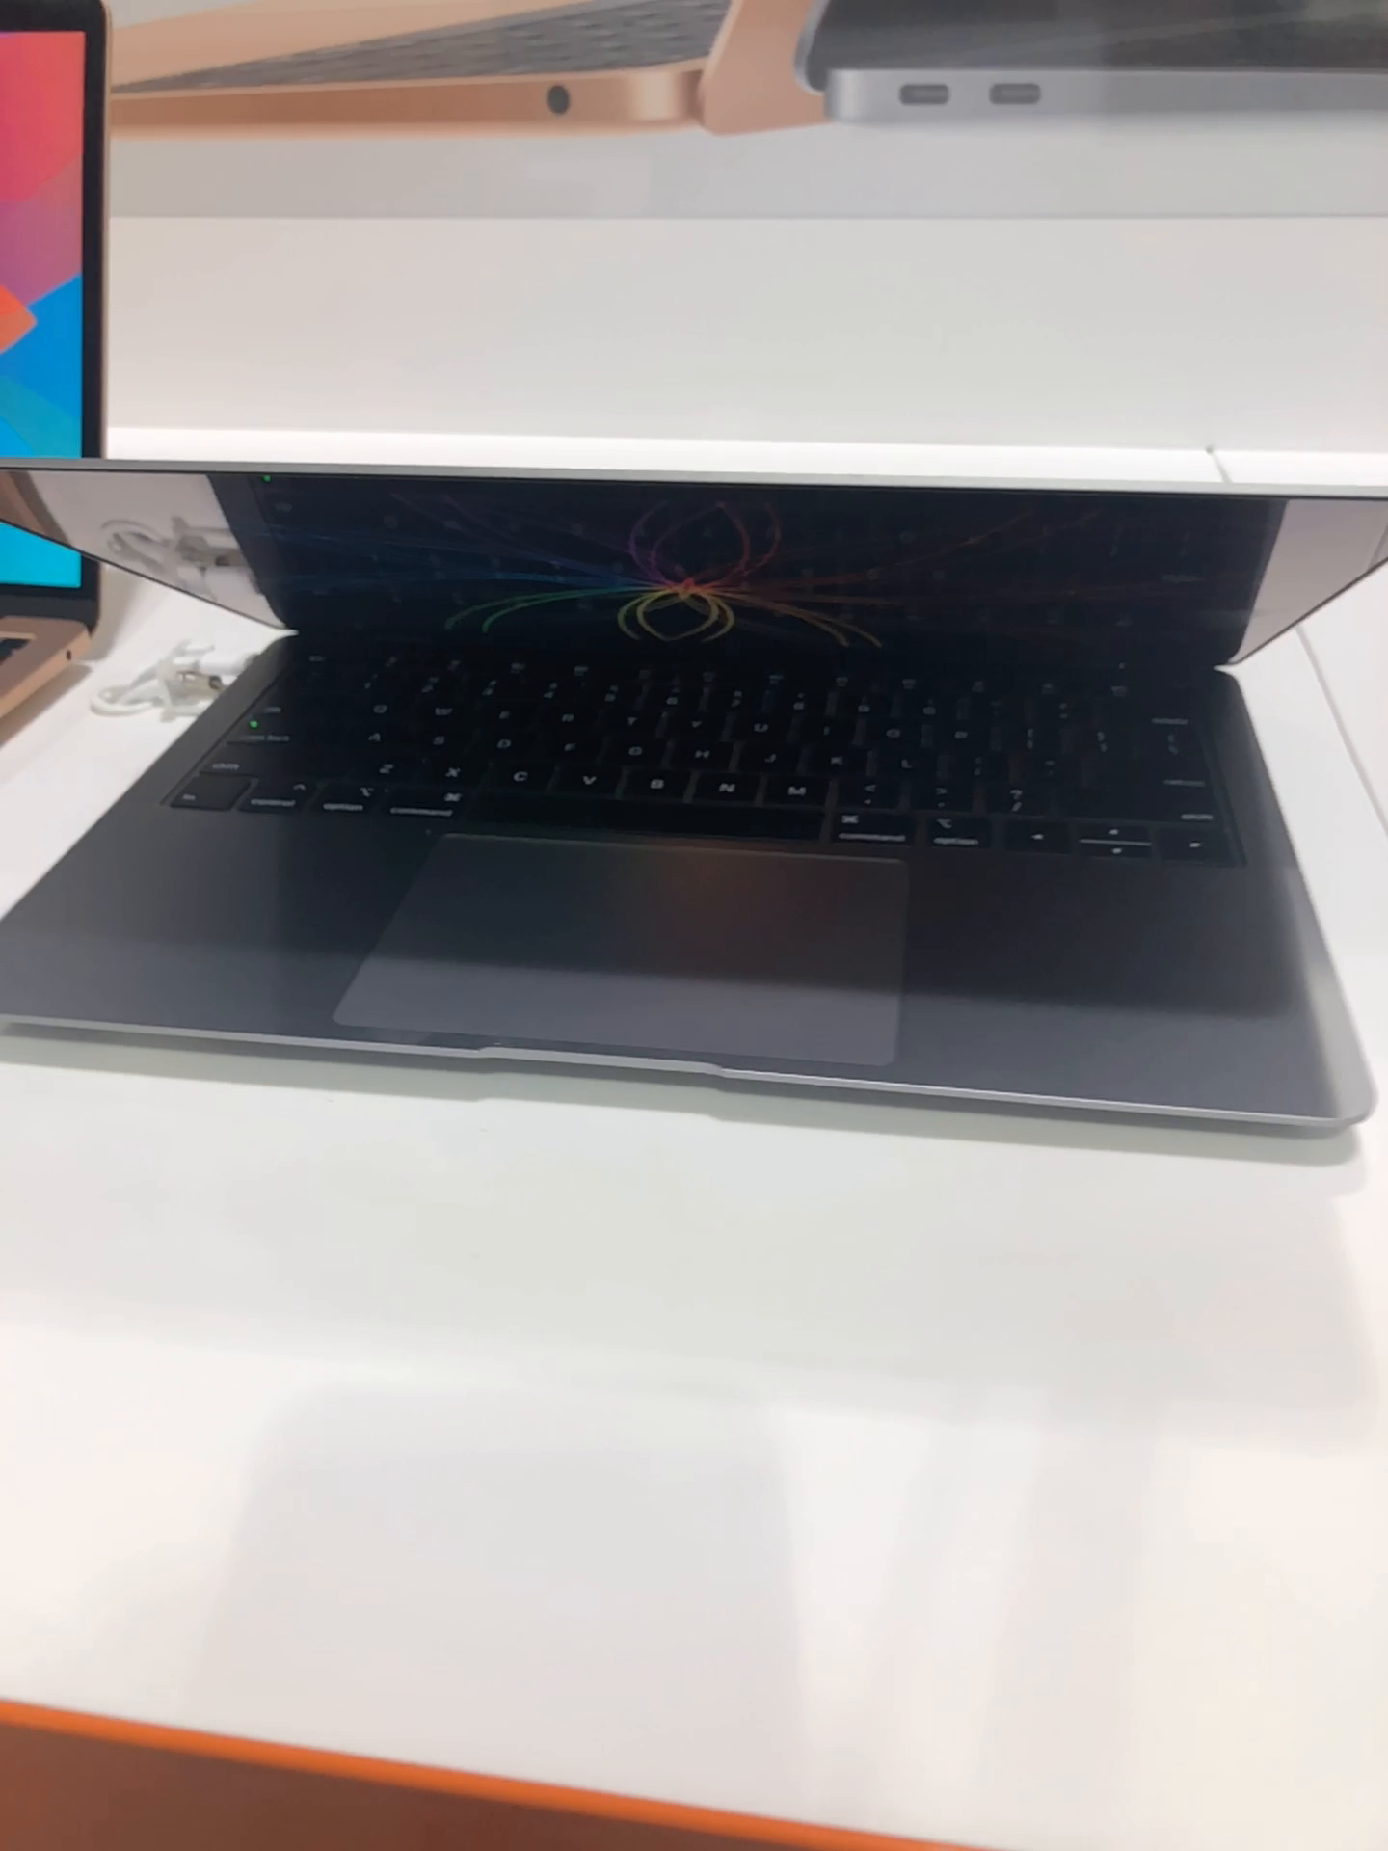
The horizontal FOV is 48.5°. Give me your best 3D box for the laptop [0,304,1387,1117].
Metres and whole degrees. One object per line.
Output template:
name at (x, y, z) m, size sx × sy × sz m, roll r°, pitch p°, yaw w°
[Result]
laptop at (-0.008, -0.072, 0.369) m, size 0.289 × 0.102 × 0.200 m, roll 4°, pitch 33°, yaw 8°
